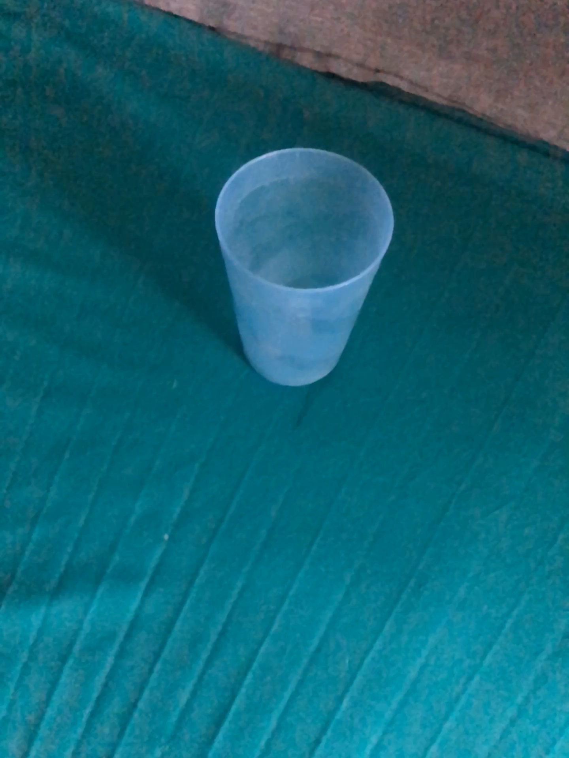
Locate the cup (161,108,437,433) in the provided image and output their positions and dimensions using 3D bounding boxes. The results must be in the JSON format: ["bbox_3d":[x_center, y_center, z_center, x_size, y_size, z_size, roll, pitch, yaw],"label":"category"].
[{"bbox_3d":[0.005,-0.039,0.284,0.078,0.119,0.066,28,70,9],"label":"cup"}]
